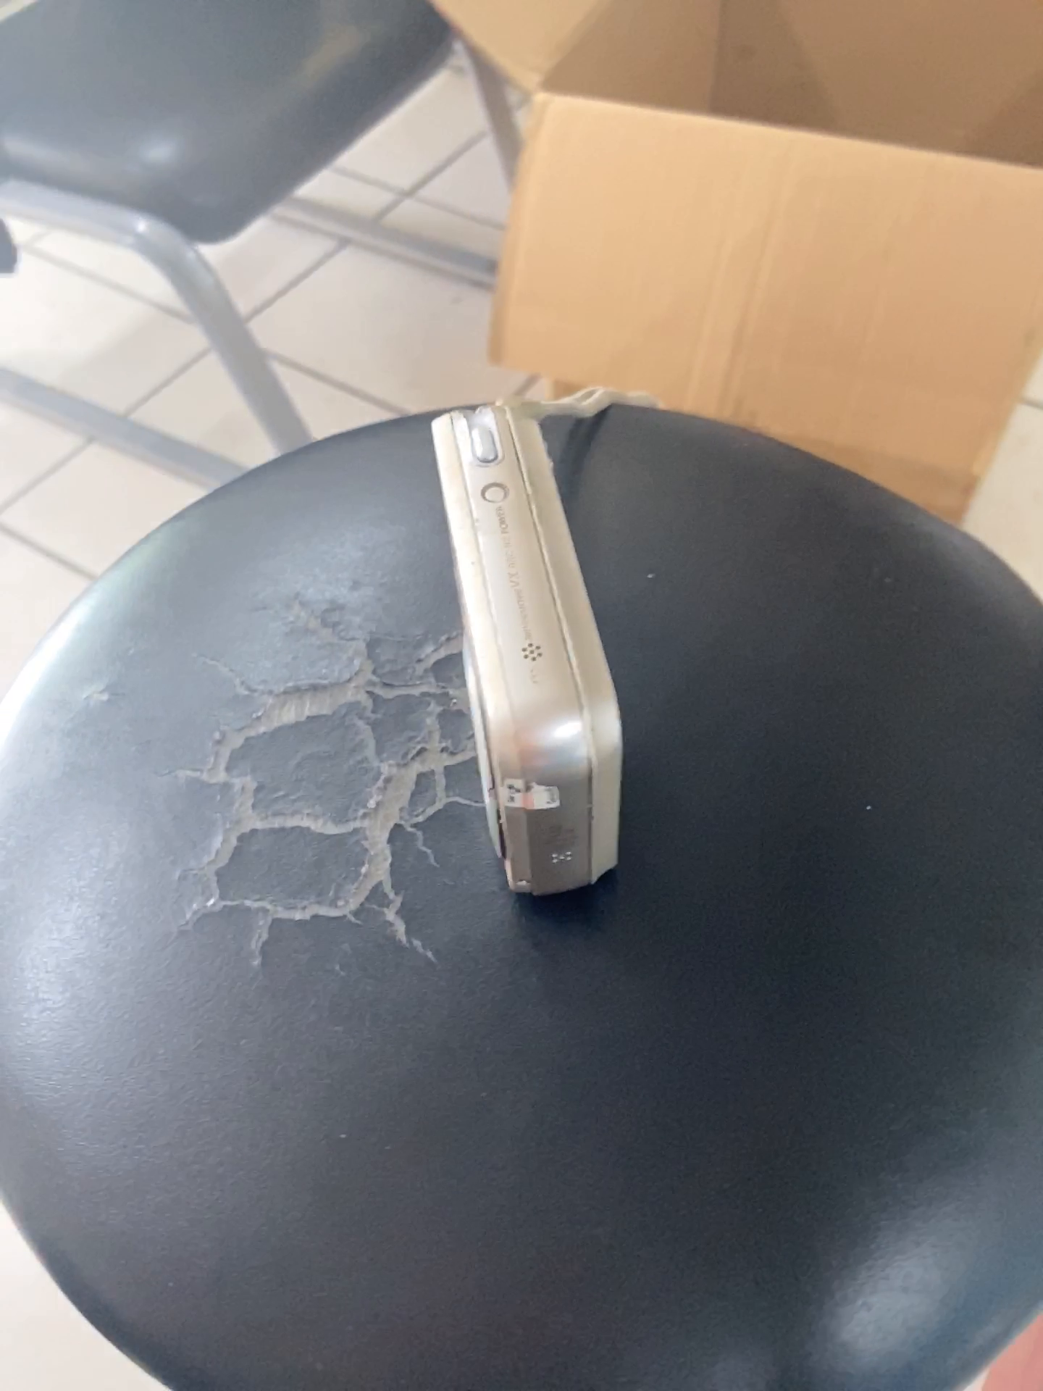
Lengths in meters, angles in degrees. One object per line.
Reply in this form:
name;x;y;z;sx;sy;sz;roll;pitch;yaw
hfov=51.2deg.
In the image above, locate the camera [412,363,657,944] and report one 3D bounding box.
camera;0.000;-0.012;0.237;0.030;0.060;0.110;-9;54;-4
